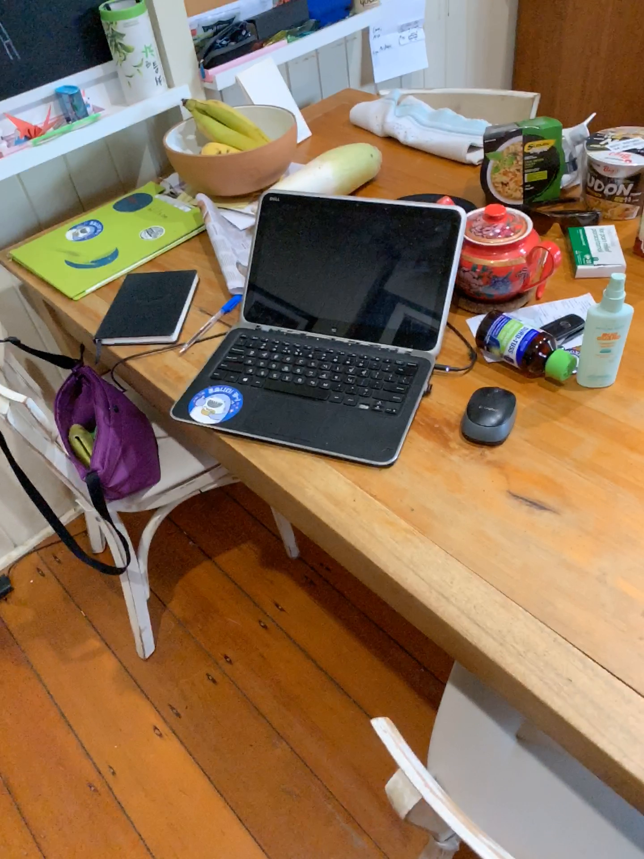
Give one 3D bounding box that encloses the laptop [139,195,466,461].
[{"bbox_3d":[-0.003,-0.156,0.879,0.303,0.139,0.340,11,49,19],"label":"laptop"}]
